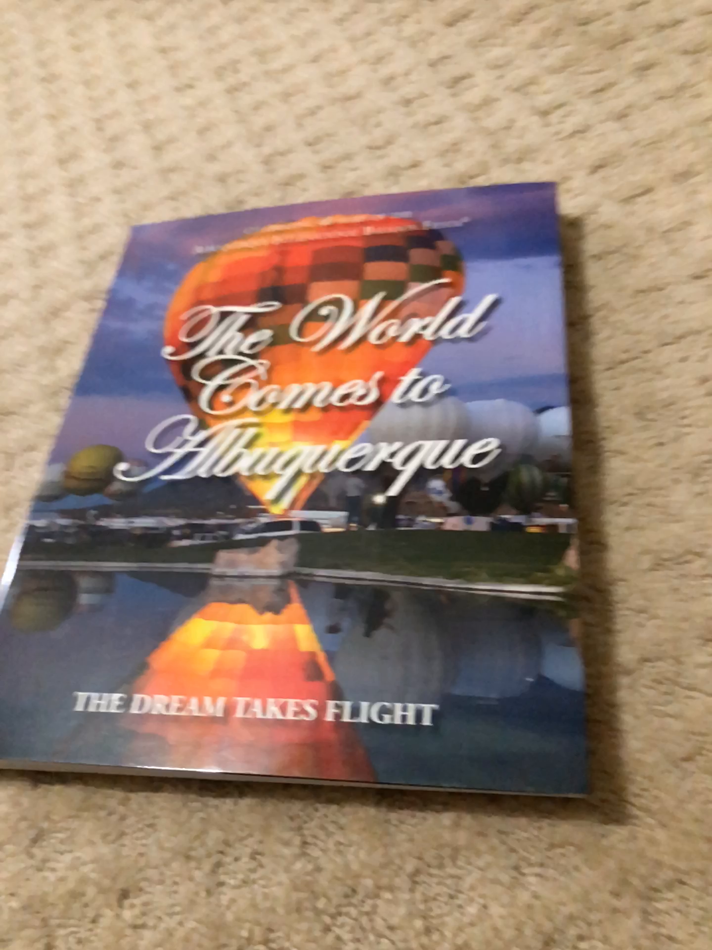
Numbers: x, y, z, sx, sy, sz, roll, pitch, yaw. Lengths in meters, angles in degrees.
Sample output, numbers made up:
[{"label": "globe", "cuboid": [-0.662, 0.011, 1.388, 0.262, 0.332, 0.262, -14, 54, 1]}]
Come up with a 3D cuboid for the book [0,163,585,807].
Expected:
[{"label": "book", "cuboid": [-0.024, -0.018, 0.308, 0.204, 0.023, 0.259, -2, 56, 14]}]
